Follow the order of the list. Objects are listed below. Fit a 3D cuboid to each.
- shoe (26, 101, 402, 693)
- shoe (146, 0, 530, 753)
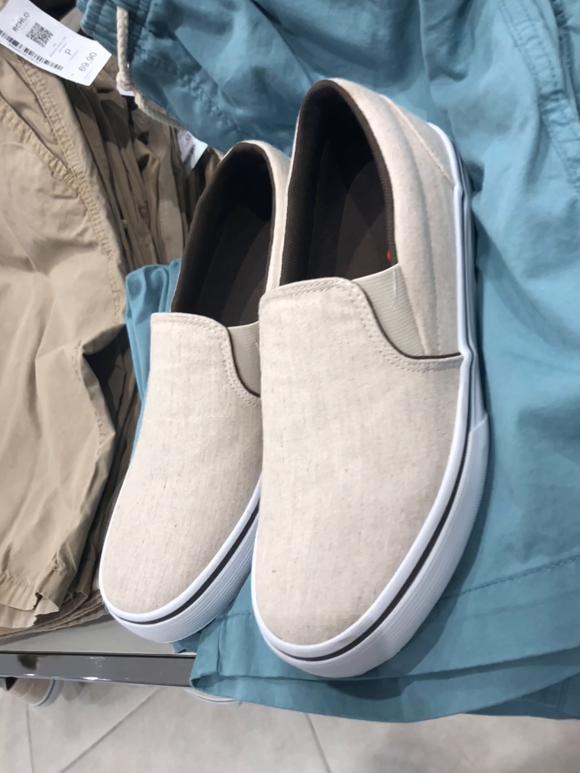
[{"bbox_3d":[-0.033,0.004,0.336,0.101,0.089,0.260,3,75,43],"label":"shoe"},{"bbox_3d":[0.031,-0.010,0.270,0.100,0.089,0.260,-6,68,39],"label":"shoe"}]
